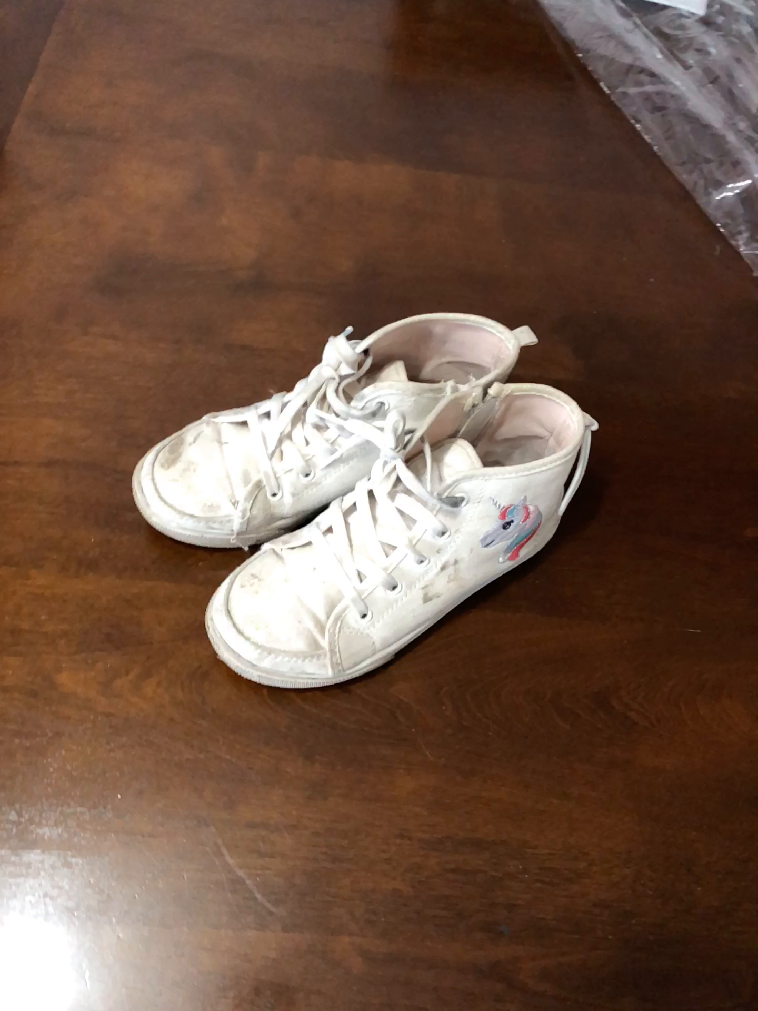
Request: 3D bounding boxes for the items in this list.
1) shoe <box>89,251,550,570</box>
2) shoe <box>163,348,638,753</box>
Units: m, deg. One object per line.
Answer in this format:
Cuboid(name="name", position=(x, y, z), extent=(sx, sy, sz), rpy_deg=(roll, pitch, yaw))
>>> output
Cuboid(name="shoe", position=(-0.033, -0.055, 0.476), extent=(0.220, 0.100, 0.090), rpy_deg=(-16, 63, -16))
Cuboid(name="shoe", position=(0.012, 0.021, 0.449), extent=(0.220, 0.100, 0.090), rpy_deg=(-29, 67, -21))
